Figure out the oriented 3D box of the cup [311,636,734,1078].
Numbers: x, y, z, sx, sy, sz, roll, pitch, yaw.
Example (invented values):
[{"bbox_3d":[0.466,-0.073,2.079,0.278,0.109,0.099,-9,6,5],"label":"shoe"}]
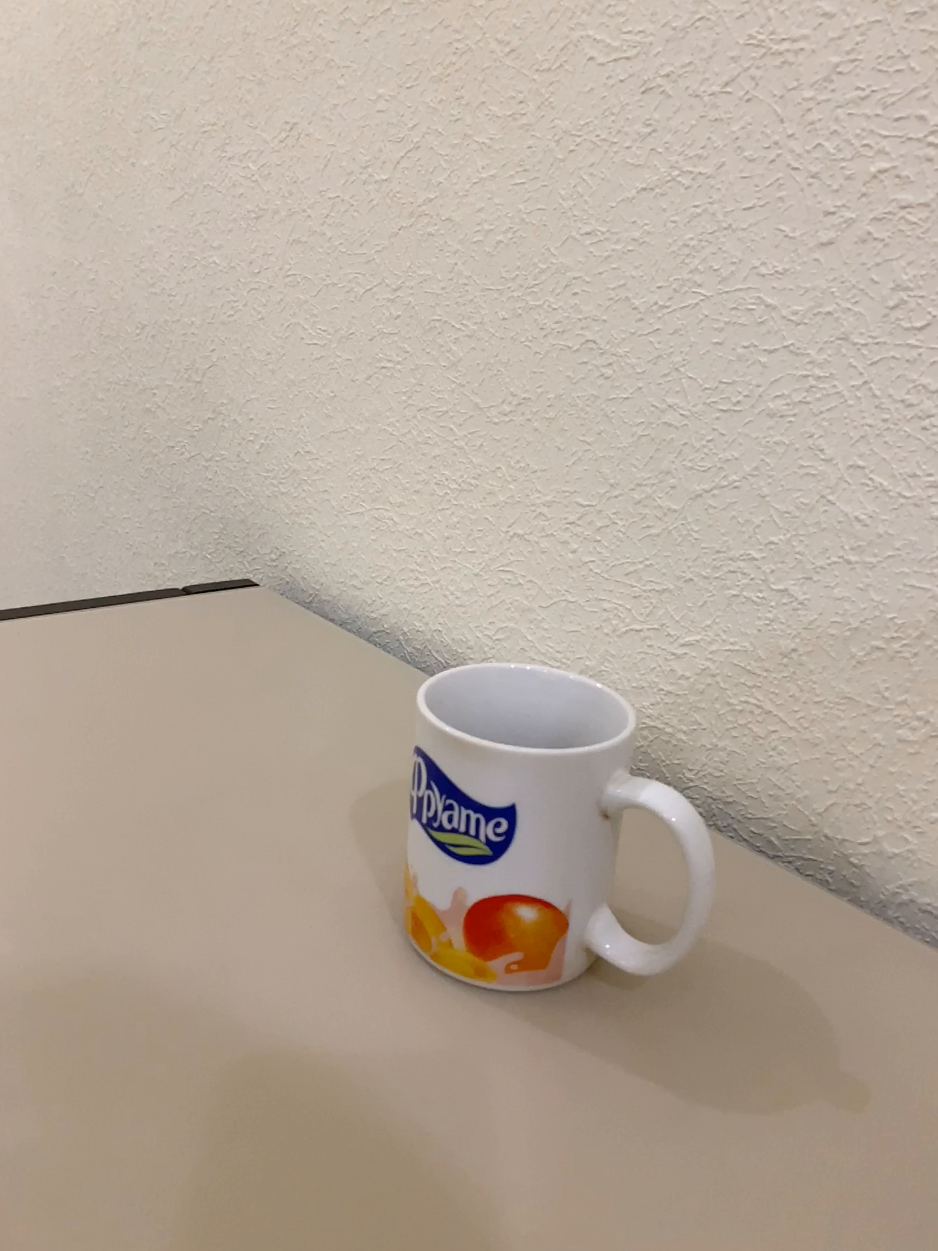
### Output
[{"bbox_3d":[0.016,0.071,0.343,0.117,0.092,0.081,18,22,34],"label":"cup"}]
